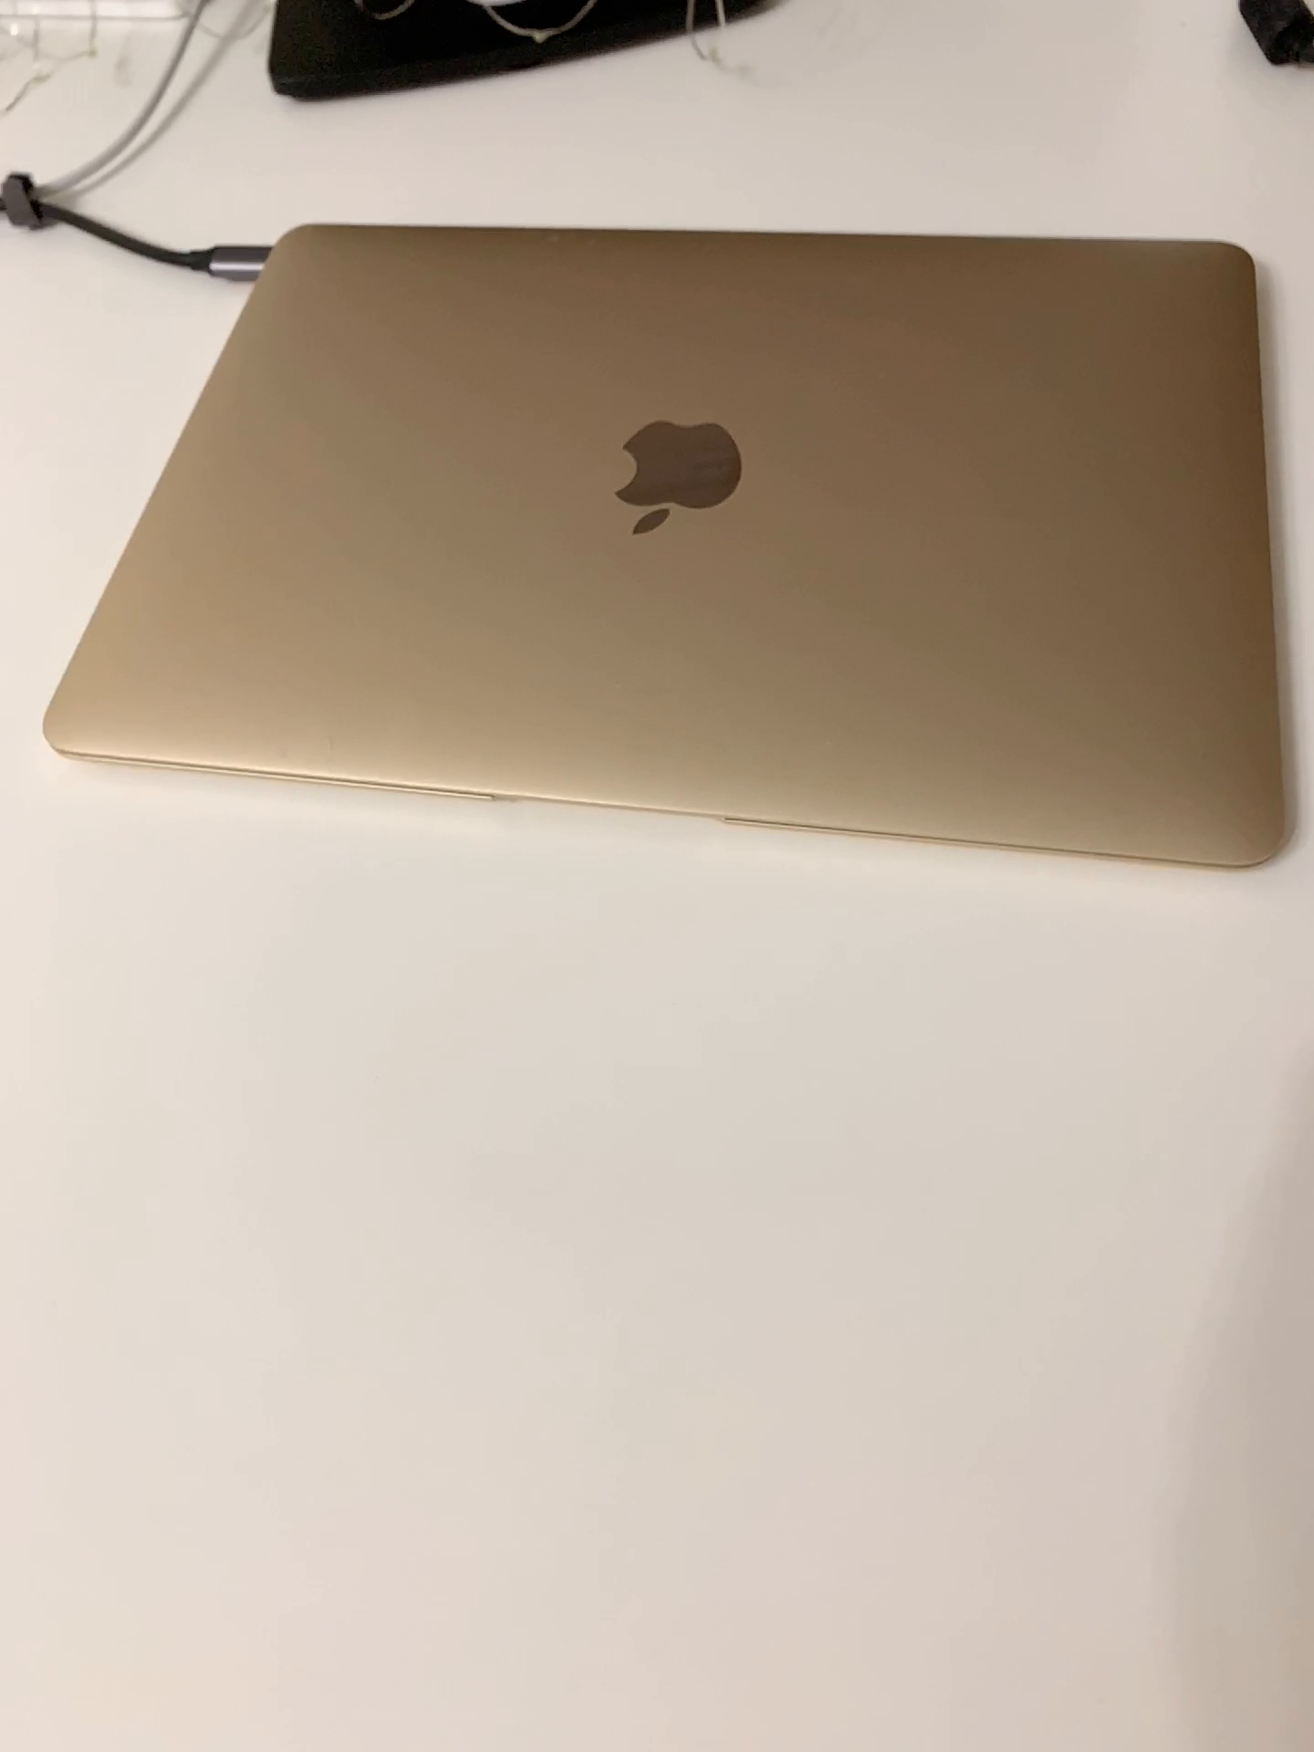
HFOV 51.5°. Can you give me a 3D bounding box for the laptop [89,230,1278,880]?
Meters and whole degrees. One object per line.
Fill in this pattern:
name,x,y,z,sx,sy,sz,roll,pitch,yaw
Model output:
laptop,0.011,-0.092,0.334,0.255,0.013,0.174,6,62,9
